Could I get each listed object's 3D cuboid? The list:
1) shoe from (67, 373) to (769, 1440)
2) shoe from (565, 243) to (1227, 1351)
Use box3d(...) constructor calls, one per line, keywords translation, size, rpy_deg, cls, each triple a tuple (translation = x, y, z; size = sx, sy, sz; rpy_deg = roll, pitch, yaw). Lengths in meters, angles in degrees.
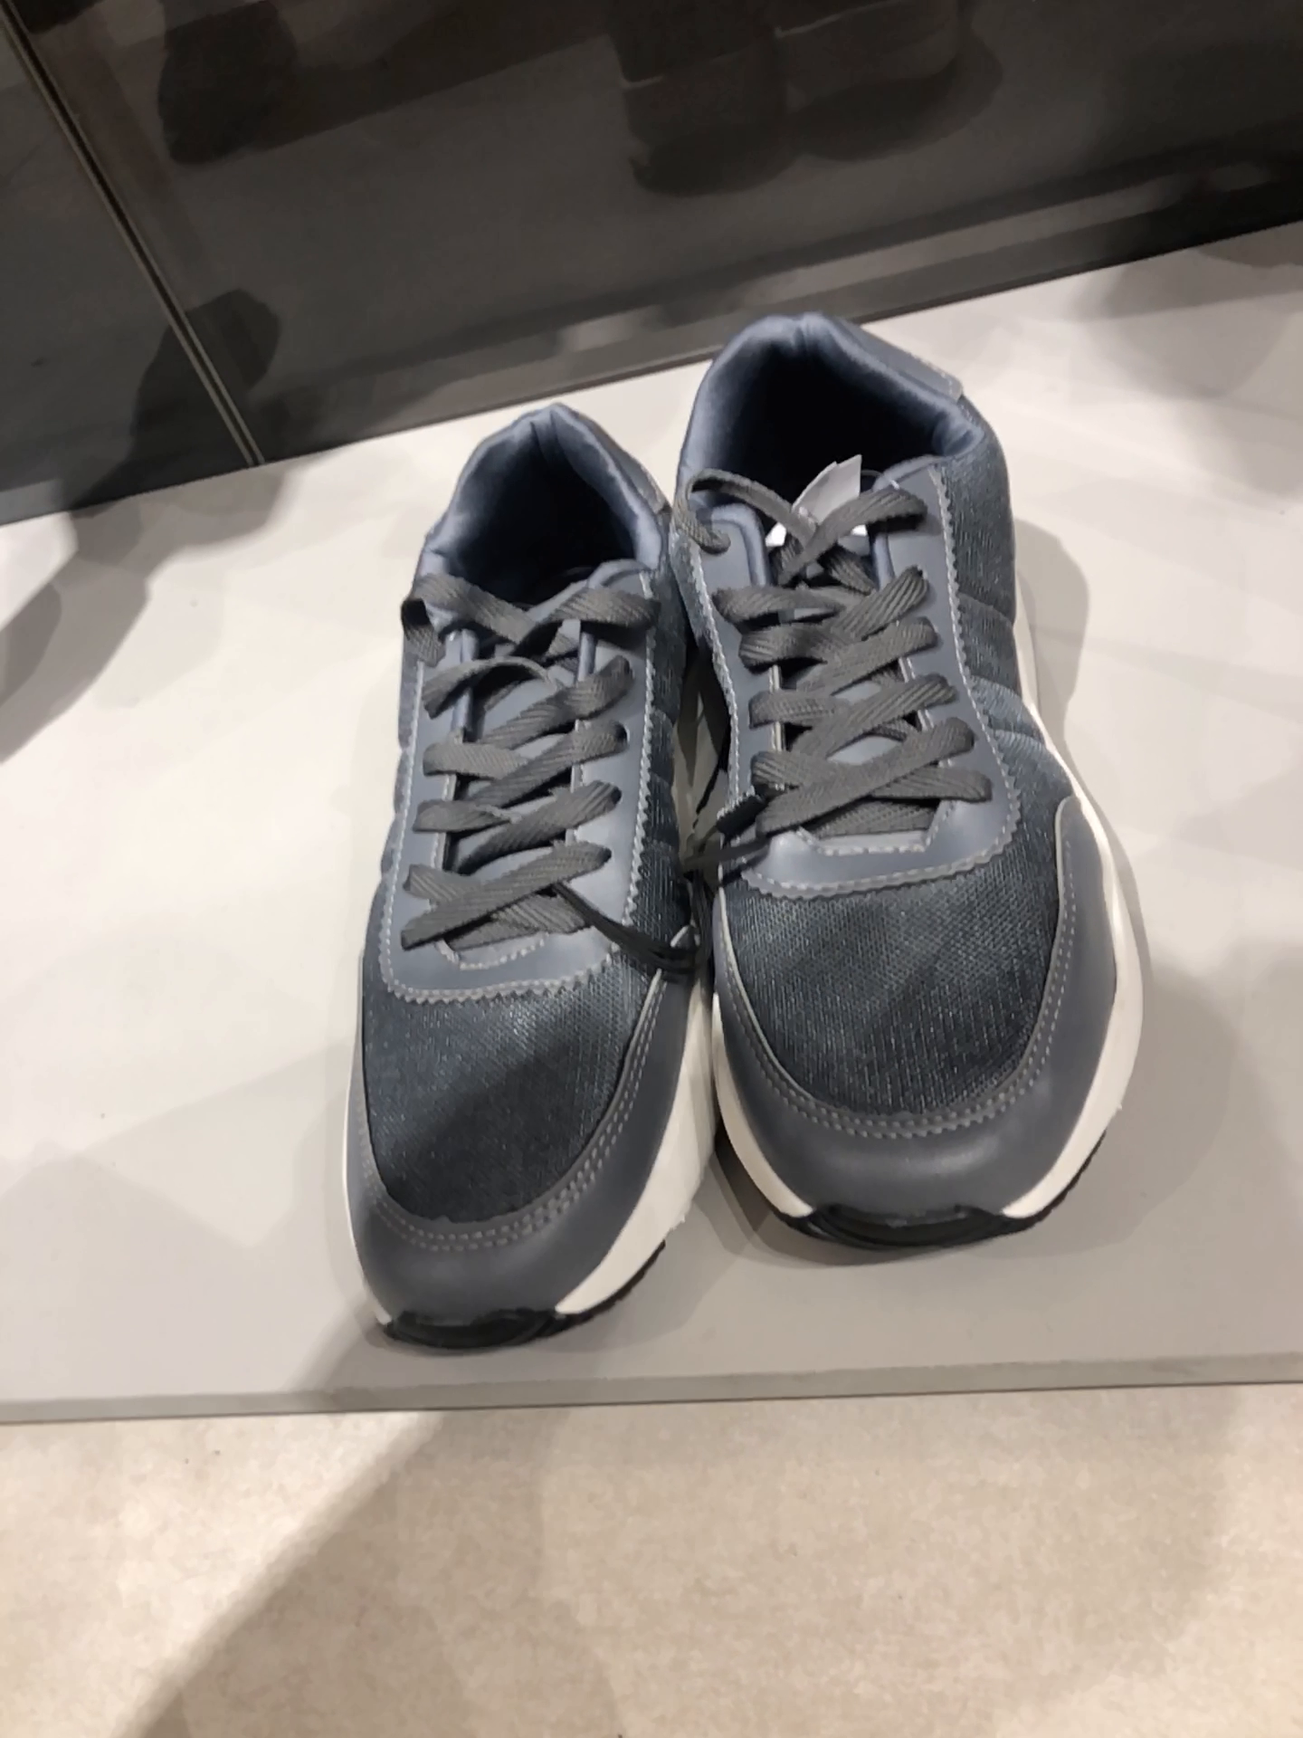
box3d(translation=(-0.036, -0.007, 0.393), size=(0.110, 0.099, 0.282), rpy_deg=(-8, 46, 15), cls="shoe")
box3d(translation=(0.057, -0.037, 0.372), size=(0.110, 0.099, 0.282), rpy_deg=(-10, 46, 14), cls="shoe")
